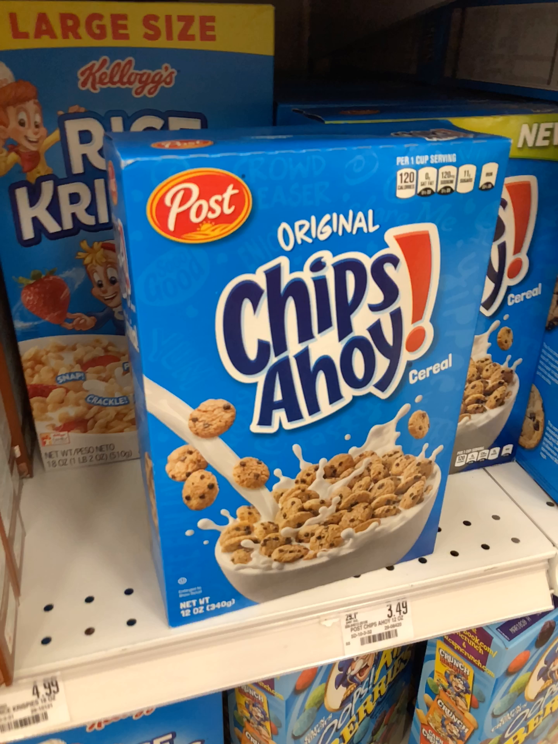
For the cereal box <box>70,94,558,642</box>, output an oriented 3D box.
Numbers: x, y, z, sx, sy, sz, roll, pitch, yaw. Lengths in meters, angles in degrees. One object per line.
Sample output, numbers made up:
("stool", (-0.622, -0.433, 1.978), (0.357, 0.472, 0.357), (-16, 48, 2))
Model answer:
("cereal box", (0.015, -0.001, 0.331), (0.200, 0.259, 0.080), (-10, 33, -18))
